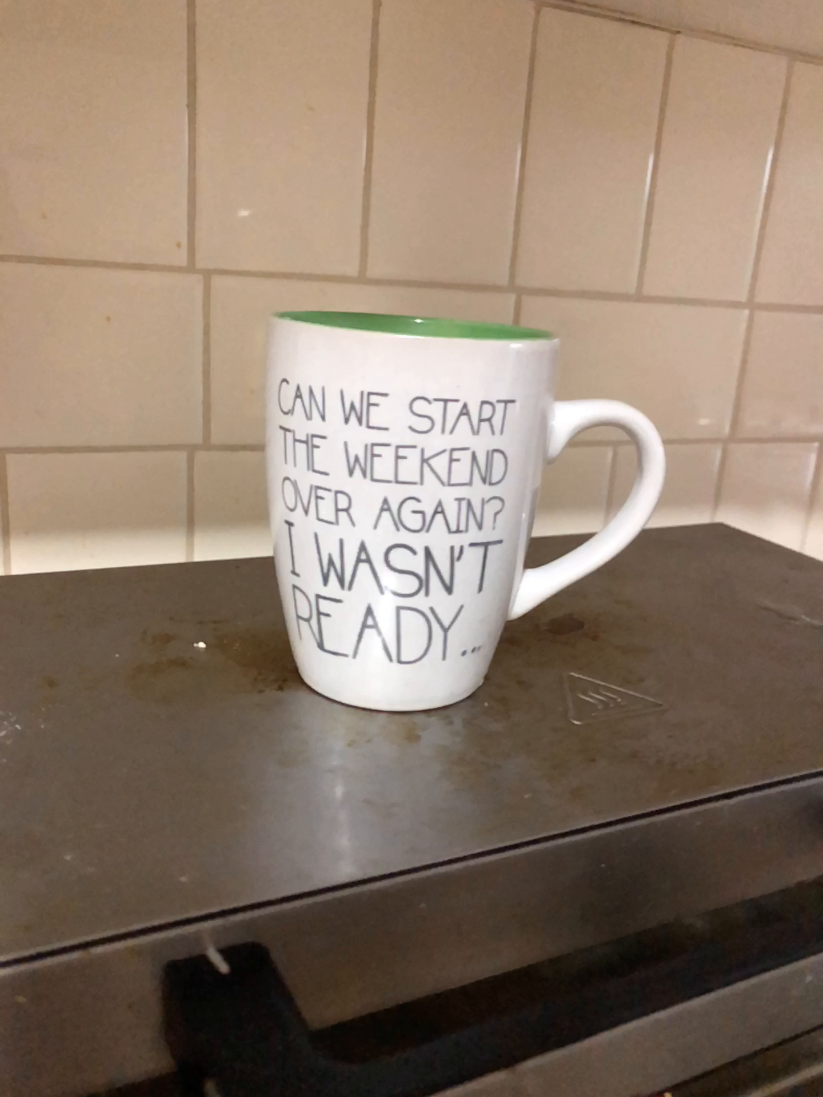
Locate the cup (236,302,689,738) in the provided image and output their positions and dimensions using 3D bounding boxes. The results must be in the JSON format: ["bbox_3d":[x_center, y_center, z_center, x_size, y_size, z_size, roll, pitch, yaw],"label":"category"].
[{"bbox_3d":[0.009,-0.012,0.274,0.110,0.110,0.070,3,16,-3],"label":"cup"}]
